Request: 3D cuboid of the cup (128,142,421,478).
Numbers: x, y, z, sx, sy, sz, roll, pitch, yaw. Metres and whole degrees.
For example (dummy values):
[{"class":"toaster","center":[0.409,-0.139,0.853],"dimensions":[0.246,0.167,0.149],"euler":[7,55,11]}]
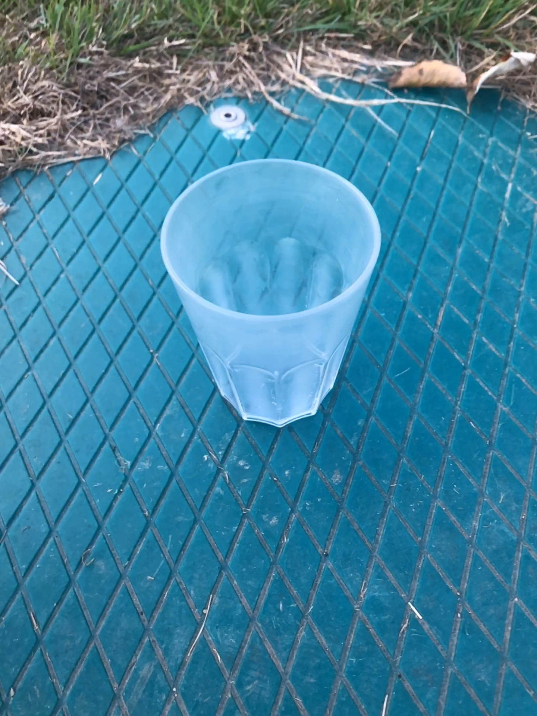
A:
[{"class":"cup","center":[0.000,-0.019,0.288],"dimensions":[0.091,0.113,0.088],"euler":[0,56,0]}]
